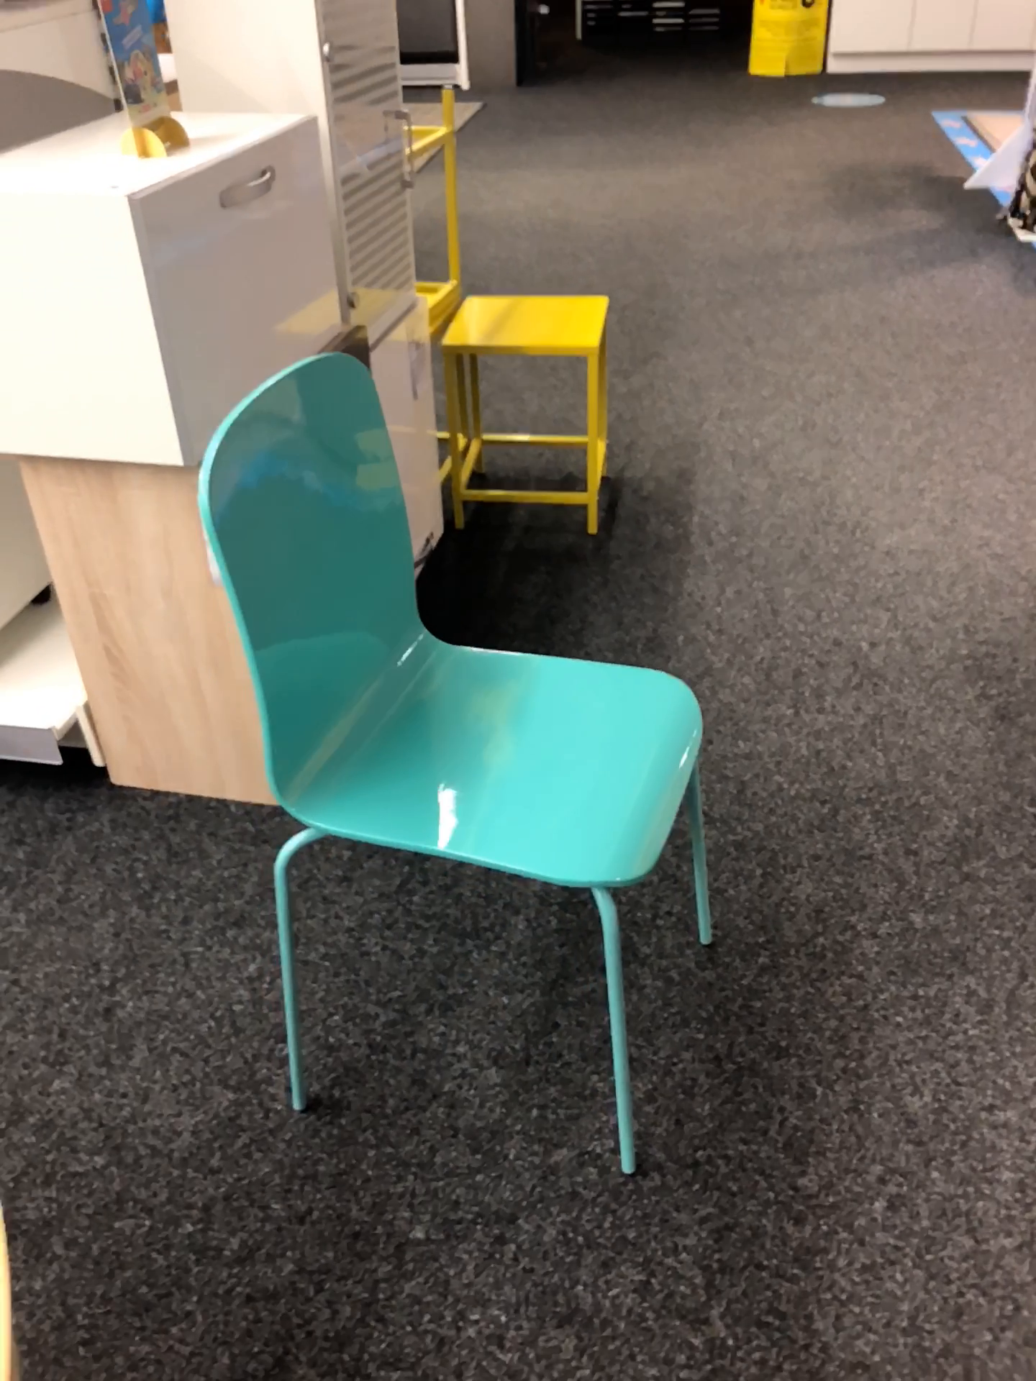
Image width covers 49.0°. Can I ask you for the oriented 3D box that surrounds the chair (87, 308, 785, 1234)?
[{"bbox_3d":[-0.025,0.086,1.310,0.500,0.865,0.493,10,37,17],"label":"chair"}]
